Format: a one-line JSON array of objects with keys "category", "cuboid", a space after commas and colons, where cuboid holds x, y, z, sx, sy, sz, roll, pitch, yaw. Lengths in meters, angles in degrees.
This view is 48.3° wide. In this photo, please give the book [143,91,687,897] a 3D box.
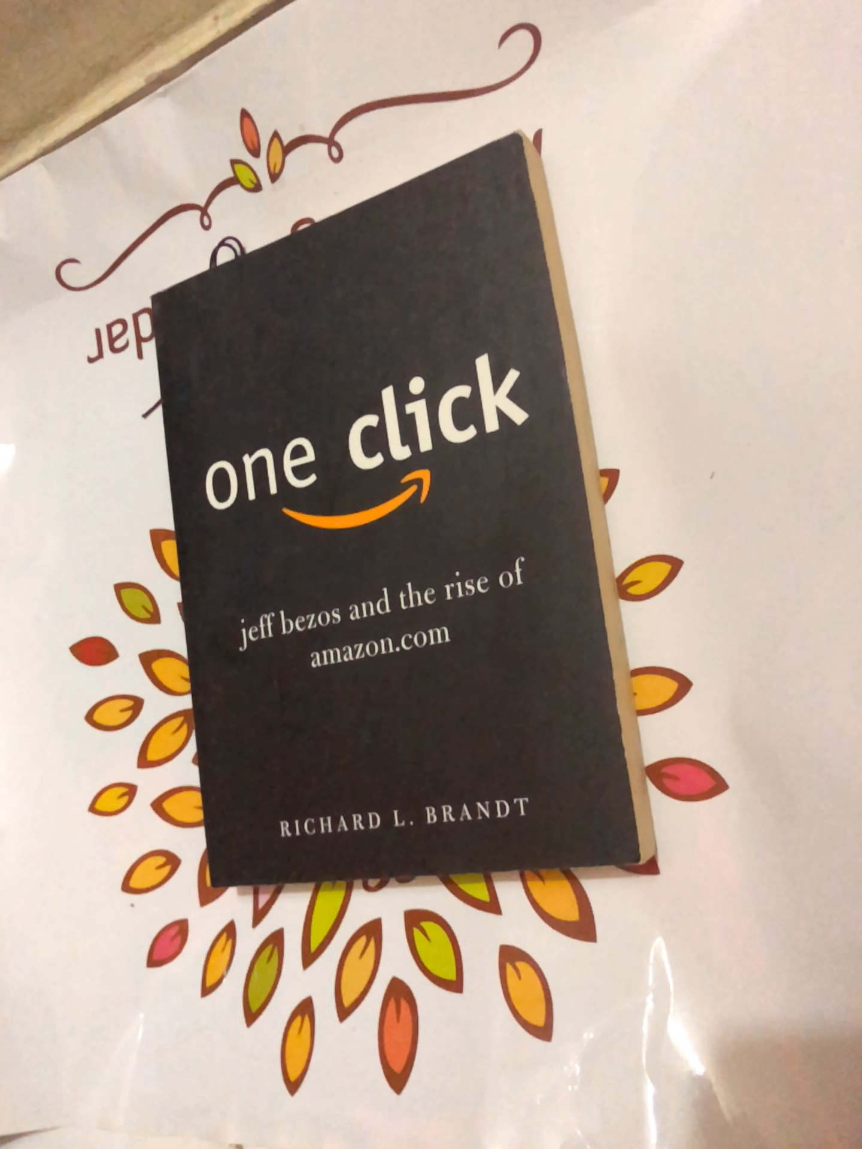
[{"category": "book", "cuboid": [-0.021, -0.018, 0.308, 0.160, 0.020, 0.220, -15, 75, 29]}]
